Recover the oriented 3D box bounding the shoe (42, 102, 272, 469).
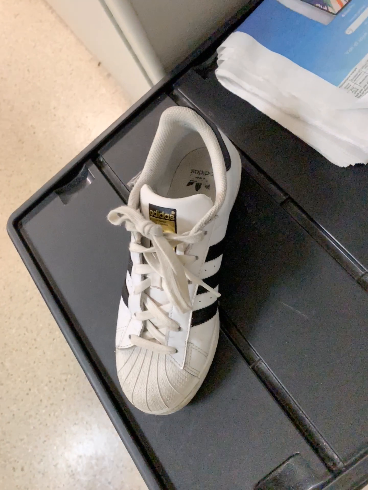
[{"bbox_3d":[-0.012,0.022,0.313,0.104,0.092,0.242,13,85,21],"label":"shoe"}]
